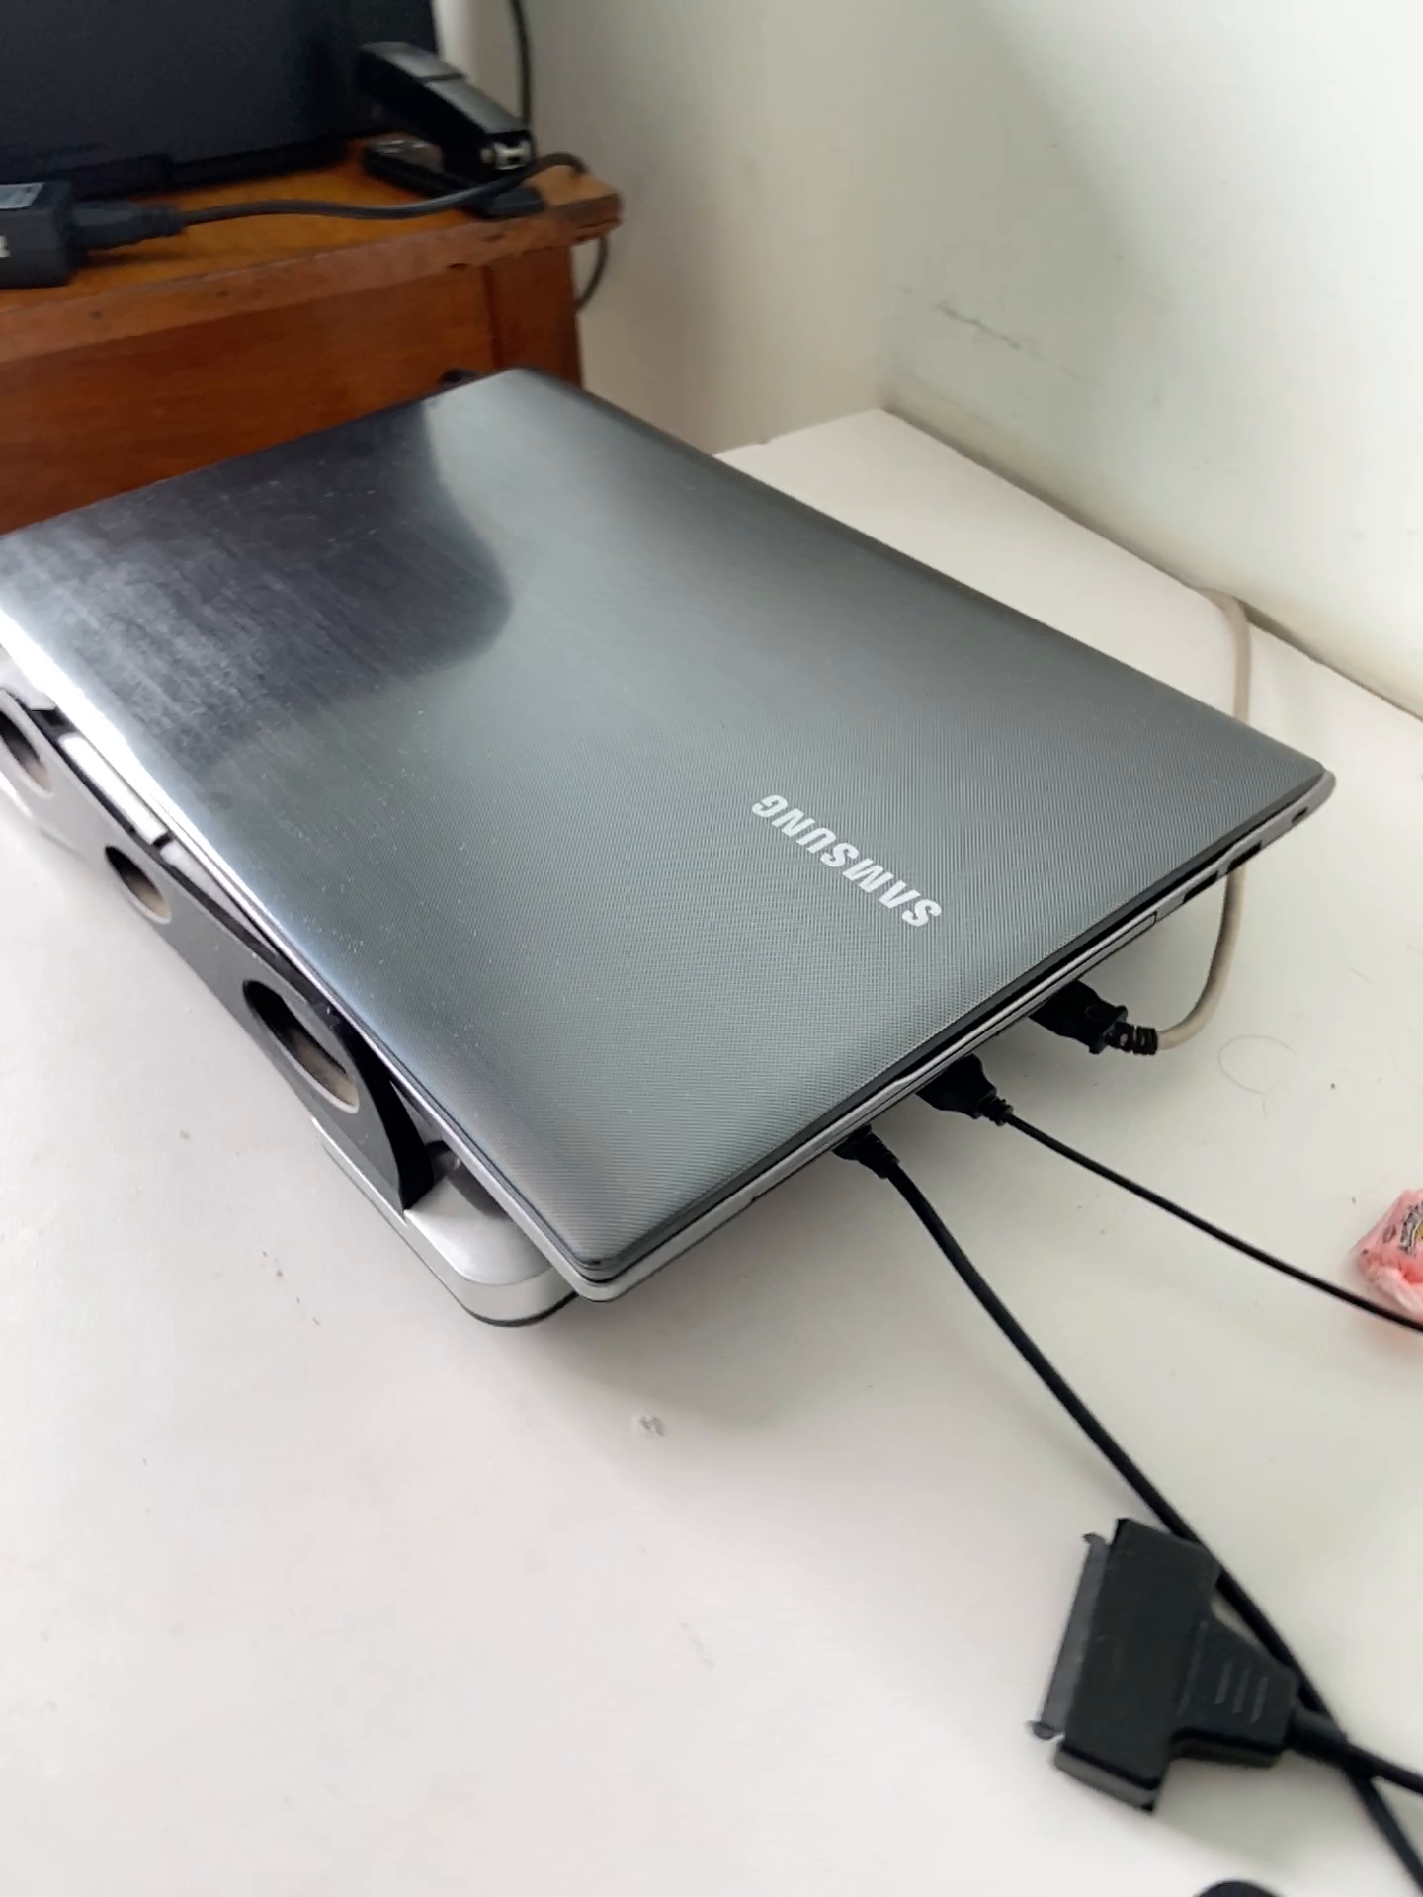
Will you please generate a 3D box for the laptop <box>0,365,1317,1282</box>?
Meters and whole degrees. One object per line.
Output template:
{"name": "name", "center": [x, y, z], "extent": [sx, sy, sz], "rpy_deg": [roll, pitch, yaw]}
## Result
{"name": "laptop", "center": [-0.051, -0.088, 0.442], "extent": [0.237, 0.005, 0.374], "rpy_deg": [-31, 50, -26]}
